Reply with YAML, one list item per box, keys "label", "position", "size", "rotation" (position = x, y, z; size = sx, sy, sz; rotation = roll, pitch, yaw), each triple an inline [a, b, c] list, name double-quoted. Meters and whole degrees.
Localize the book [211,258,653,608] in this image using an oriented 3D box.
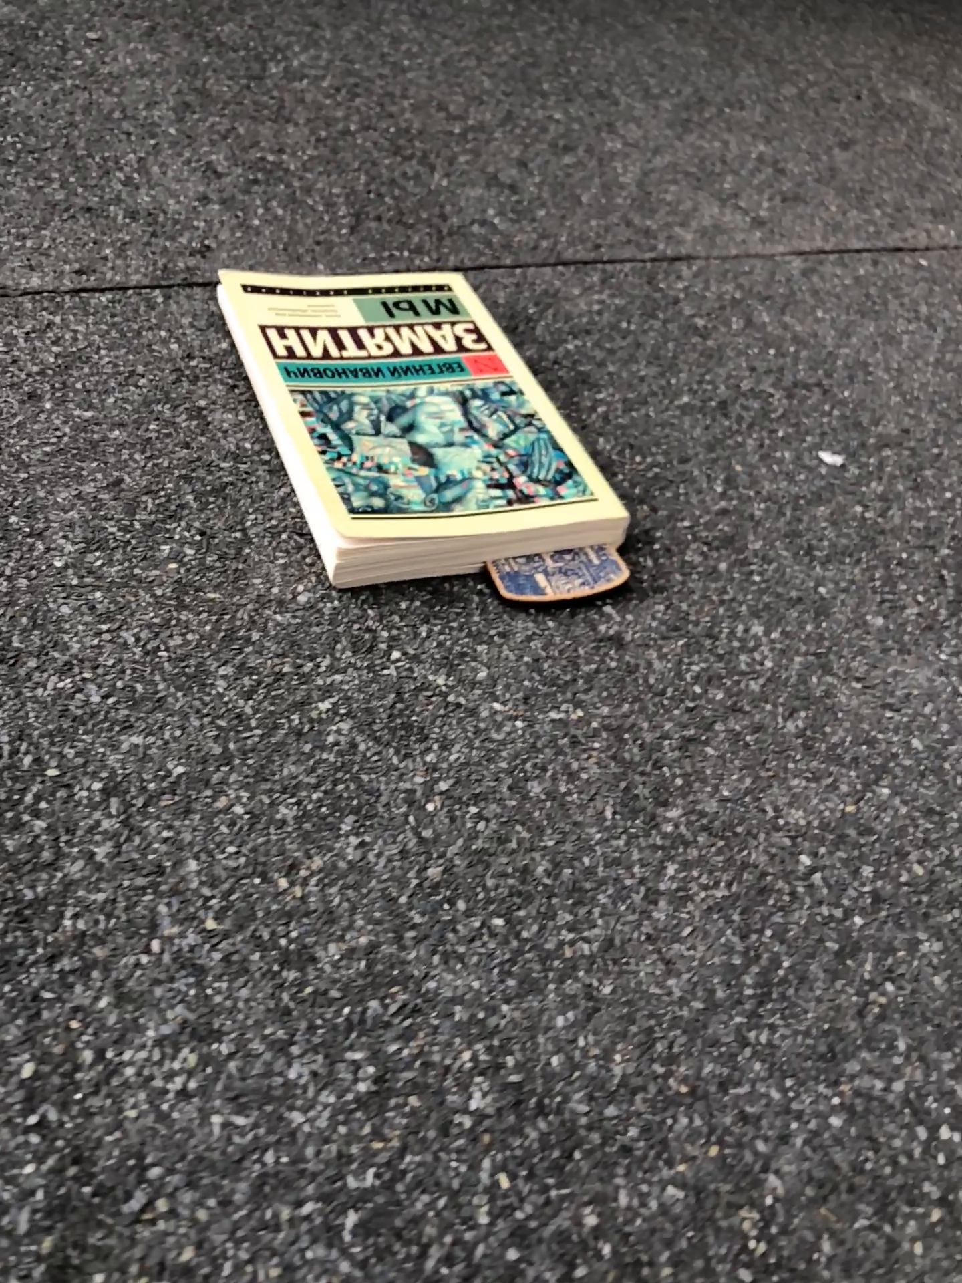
- label: "book"
  position: [-0.028, -0.095, 0.424]
  size: [0.120, 0.027, 0.183]
  rotation: [-9, 49, -22]
